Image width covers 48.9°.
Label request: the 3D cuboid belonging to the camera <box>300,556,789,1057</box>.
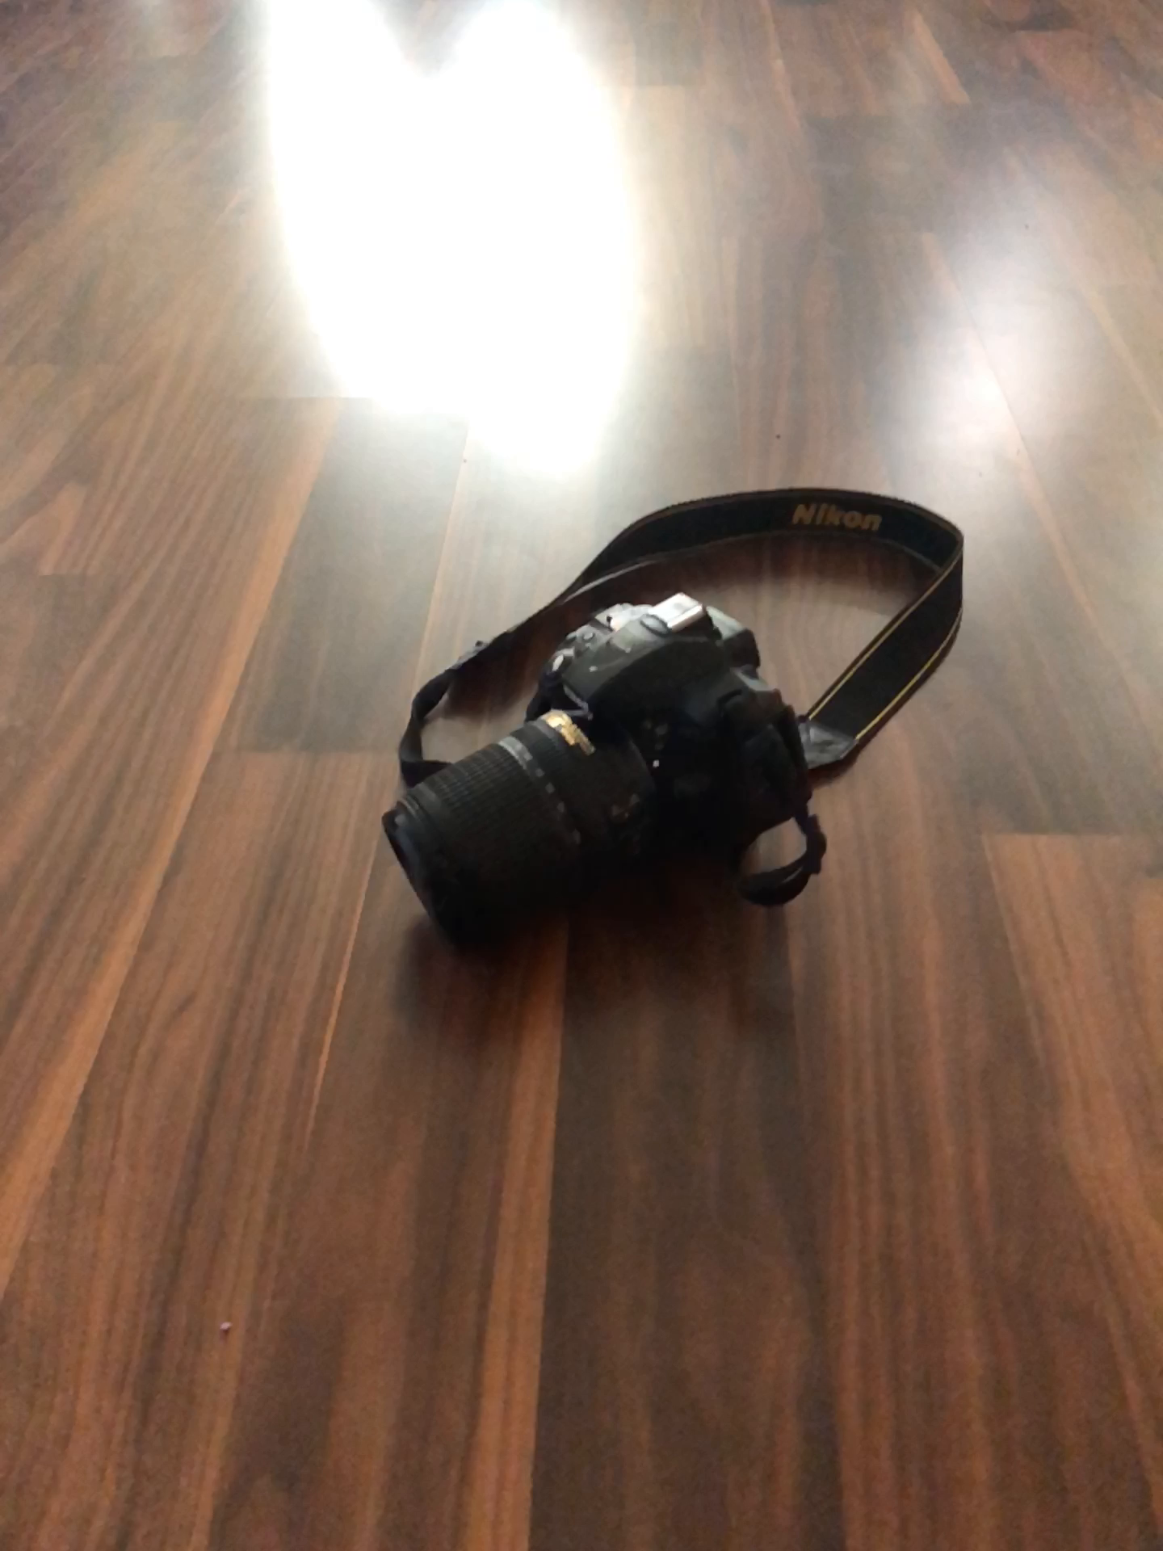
[{"bbox_3d":[-0.011,0.010,0.593,0.180,0.130,0.110,-27,47,-19],"label":"camera"}]
